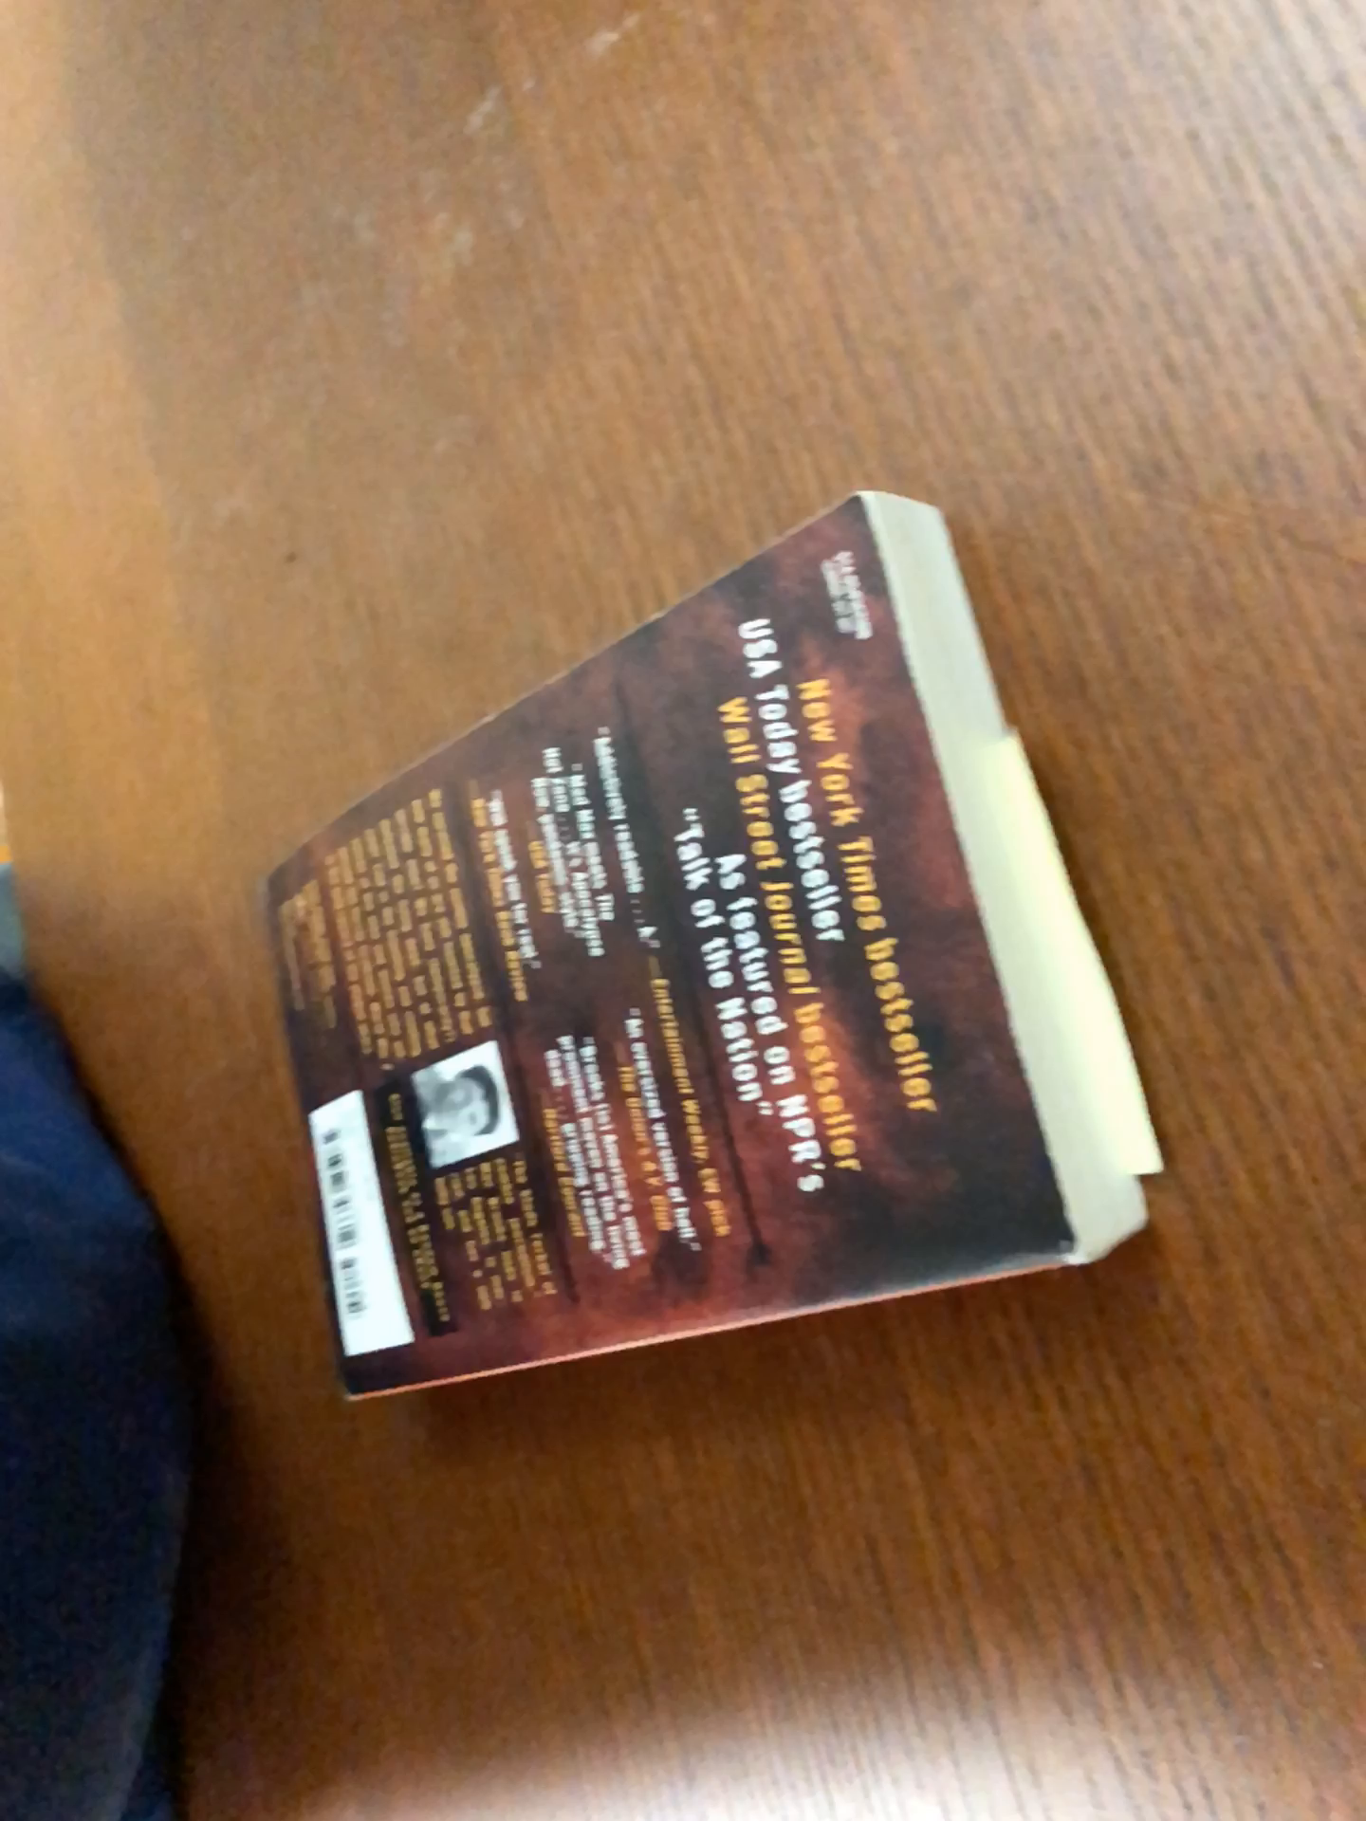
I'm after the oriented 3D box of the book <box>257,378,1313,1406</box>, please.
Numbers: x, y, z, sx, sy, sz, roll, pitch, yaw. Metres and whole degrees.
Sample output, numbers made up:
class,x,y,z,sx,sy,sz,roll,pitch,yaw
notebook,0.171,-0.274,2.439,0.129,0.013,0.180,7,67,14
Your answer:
class,x,y,z,sx,sy,sz,roll,pitch,yaw
book,-0.006,0.016,0.307,0.221,0.030,0.140,-23,74,41
